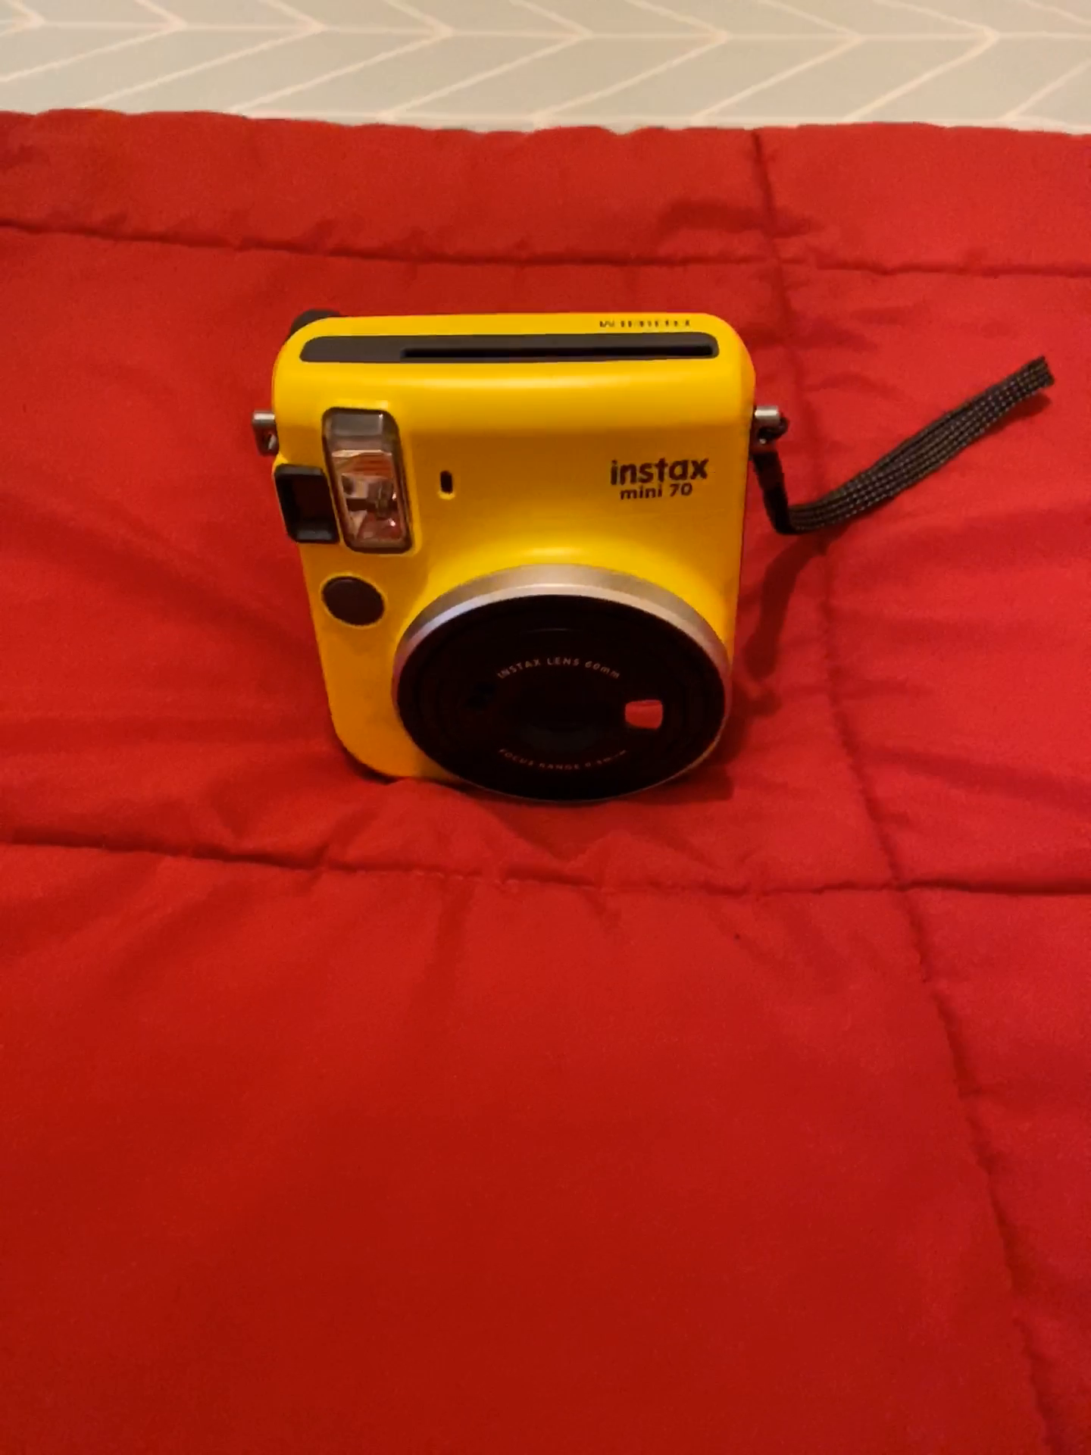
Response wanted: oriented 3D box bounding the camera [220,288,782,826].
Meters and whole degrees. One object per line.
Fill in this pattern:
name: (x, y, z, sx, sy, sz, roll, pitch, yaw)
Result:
camera: (-0.006, -0.033, 0.247, 0.095, 0.103, 0.057, 1, 49, 3)
